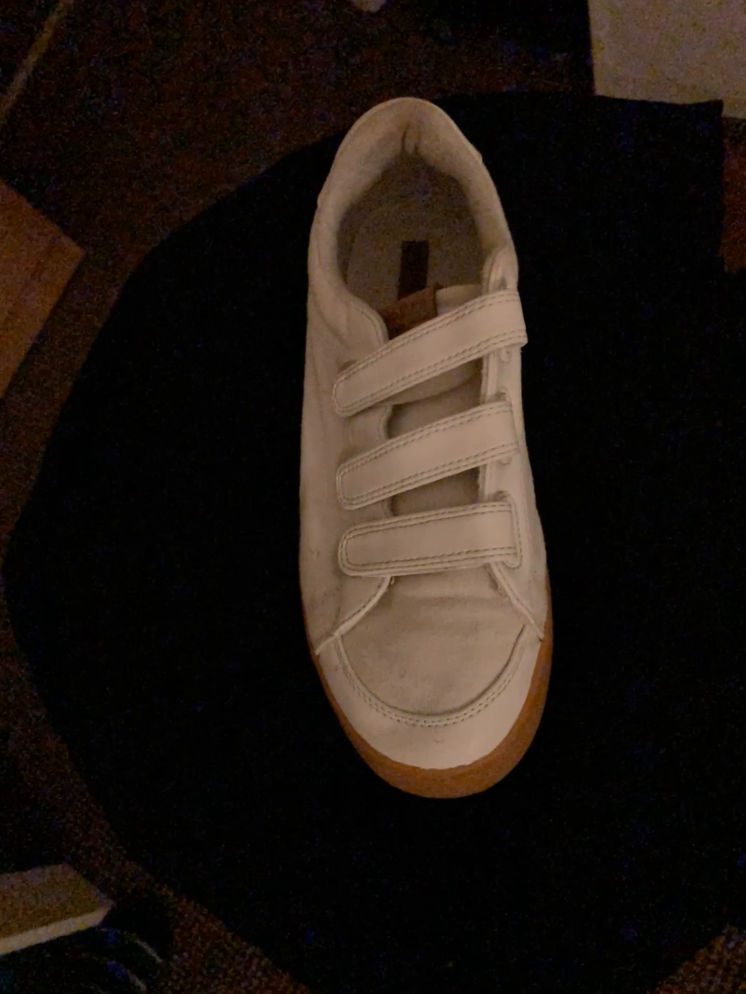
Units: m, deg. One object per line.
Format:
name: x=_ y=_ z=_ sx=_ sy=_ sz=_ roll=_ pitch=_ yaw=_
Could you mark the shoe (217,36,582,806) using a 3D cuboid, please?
shoe: x=0.008 y=-0.027 z=0.284 sx=0.096 sy=0.080 sz=0.255 roll=-9 pitch=70 yaw=17
